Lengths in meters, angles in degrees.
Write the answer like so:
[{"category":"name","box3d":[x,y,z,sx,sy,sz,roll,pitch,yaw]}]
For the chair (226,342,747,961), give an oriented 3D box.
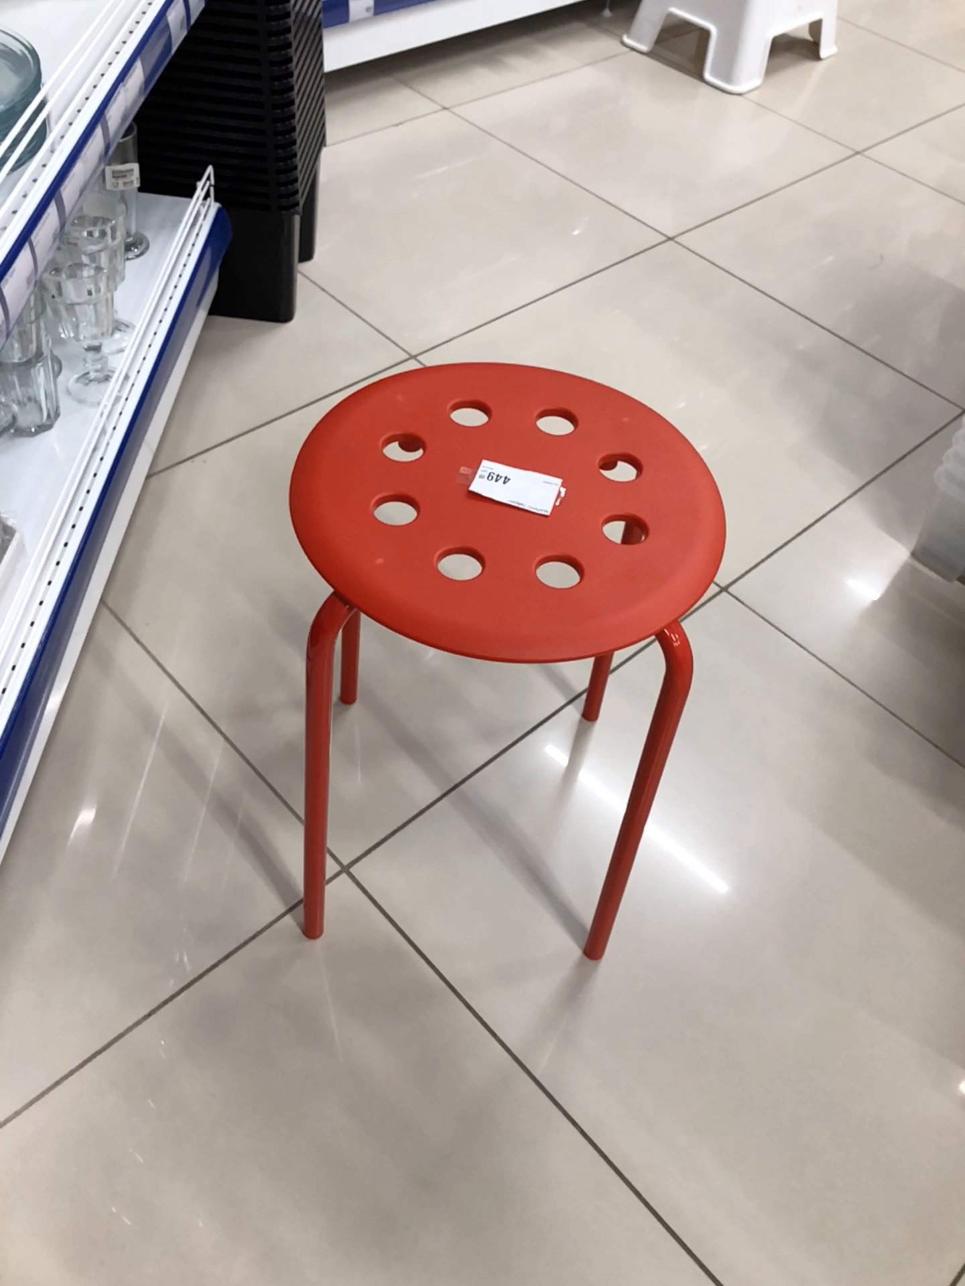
[{"category":"chair","box3d":[-0.005,0.023,0.902,0.320,0.404,0.315,5,49,-2]}]
